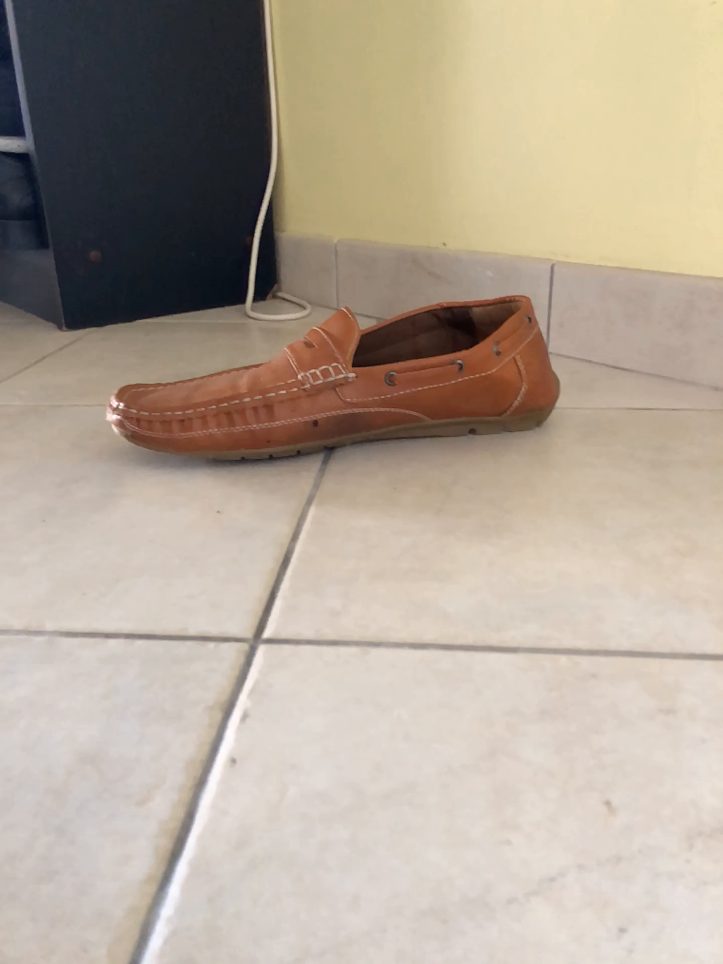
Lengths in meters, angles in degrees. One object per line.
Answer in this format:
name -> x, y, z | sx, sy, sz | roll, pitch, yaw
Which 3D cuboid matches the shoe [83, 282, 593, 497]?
shoe -> -0.019, -0.068, 0.492 | 0.280, 0.070, 0.130 | -8, 25, -15
